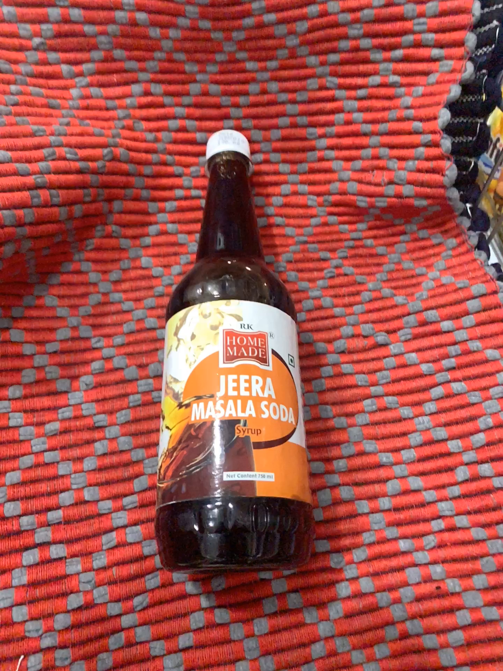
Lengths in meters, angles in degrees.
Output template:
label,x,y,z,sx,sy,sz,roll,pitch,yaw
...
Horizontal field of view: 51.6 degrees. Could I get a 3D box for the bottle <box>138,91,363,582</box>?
label,x,y,z,sx,sy,sz,roll,pitch,yaw
bottle,-0.009,-0.013,0.283,0.080,0.070,0.261,5,59,-12
